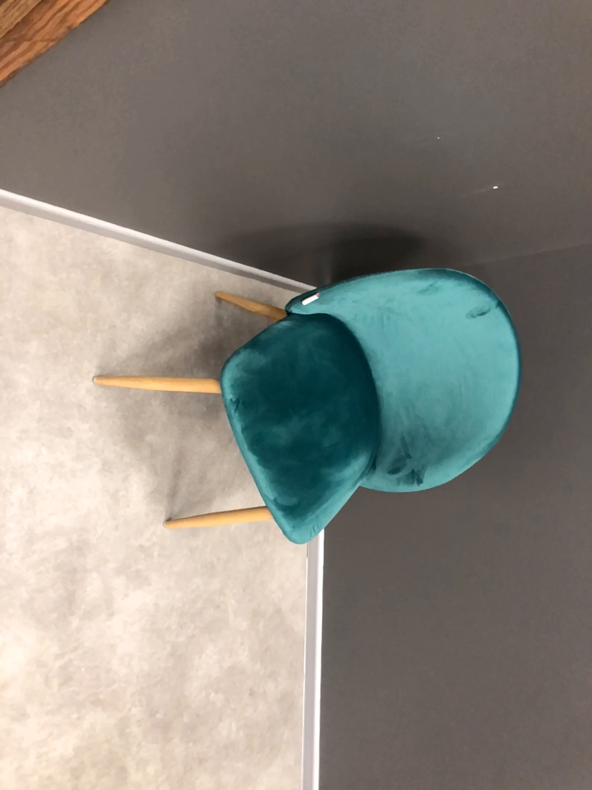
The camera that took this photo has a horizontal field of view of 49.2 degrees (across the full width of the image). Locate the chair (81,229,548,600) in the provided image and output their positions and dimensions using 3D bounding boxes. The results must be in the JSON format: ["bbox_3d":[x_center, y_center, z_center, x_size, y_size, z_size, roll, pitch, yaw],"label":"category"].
[{"bbox_3d":[0.039,0.027,1.571,0.543,0.855,0.540,-39,116,-42],"label":"chair"}]
